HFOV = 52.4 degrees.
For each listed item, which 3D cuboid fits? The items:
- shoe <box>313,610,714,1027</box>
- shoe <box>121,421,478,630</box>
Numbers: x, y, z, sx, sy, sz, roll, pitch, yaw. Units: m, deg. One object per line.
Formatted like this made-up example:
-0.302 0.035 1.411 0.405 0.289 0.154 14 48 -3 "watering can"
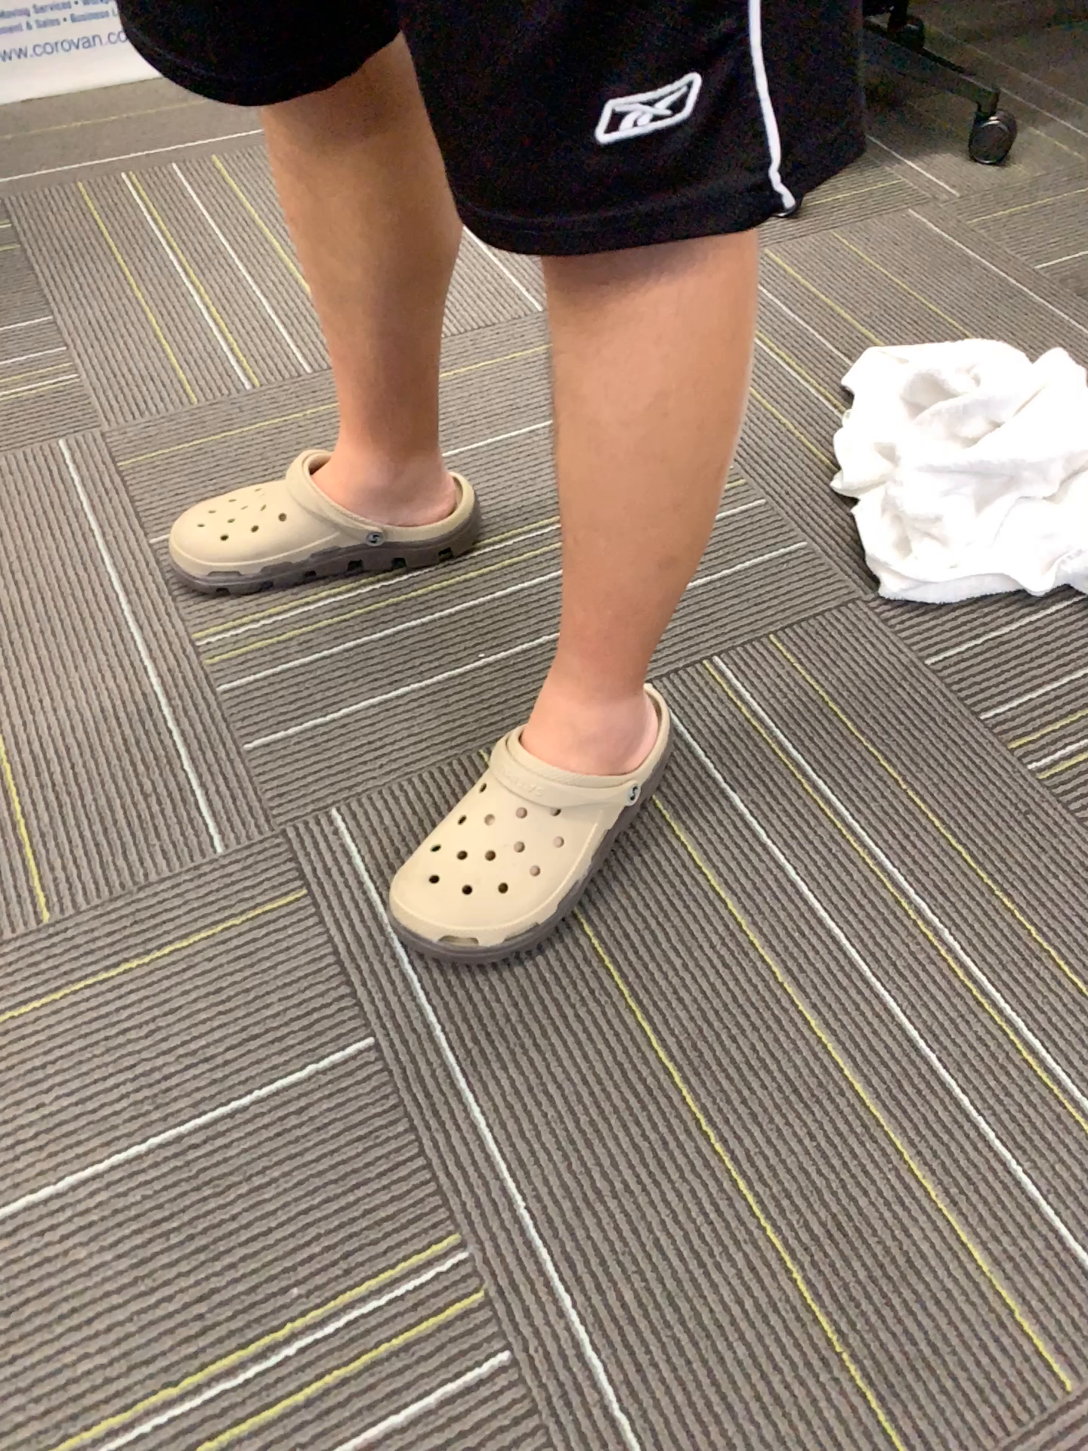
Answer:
-0.013 0.061 0.895 0.140 0.090 0.331 30 56 22 "shoe"
-0.245 -0.206 1.120 0.330 0.090 0.151 -10 51 -9 "shoe"
